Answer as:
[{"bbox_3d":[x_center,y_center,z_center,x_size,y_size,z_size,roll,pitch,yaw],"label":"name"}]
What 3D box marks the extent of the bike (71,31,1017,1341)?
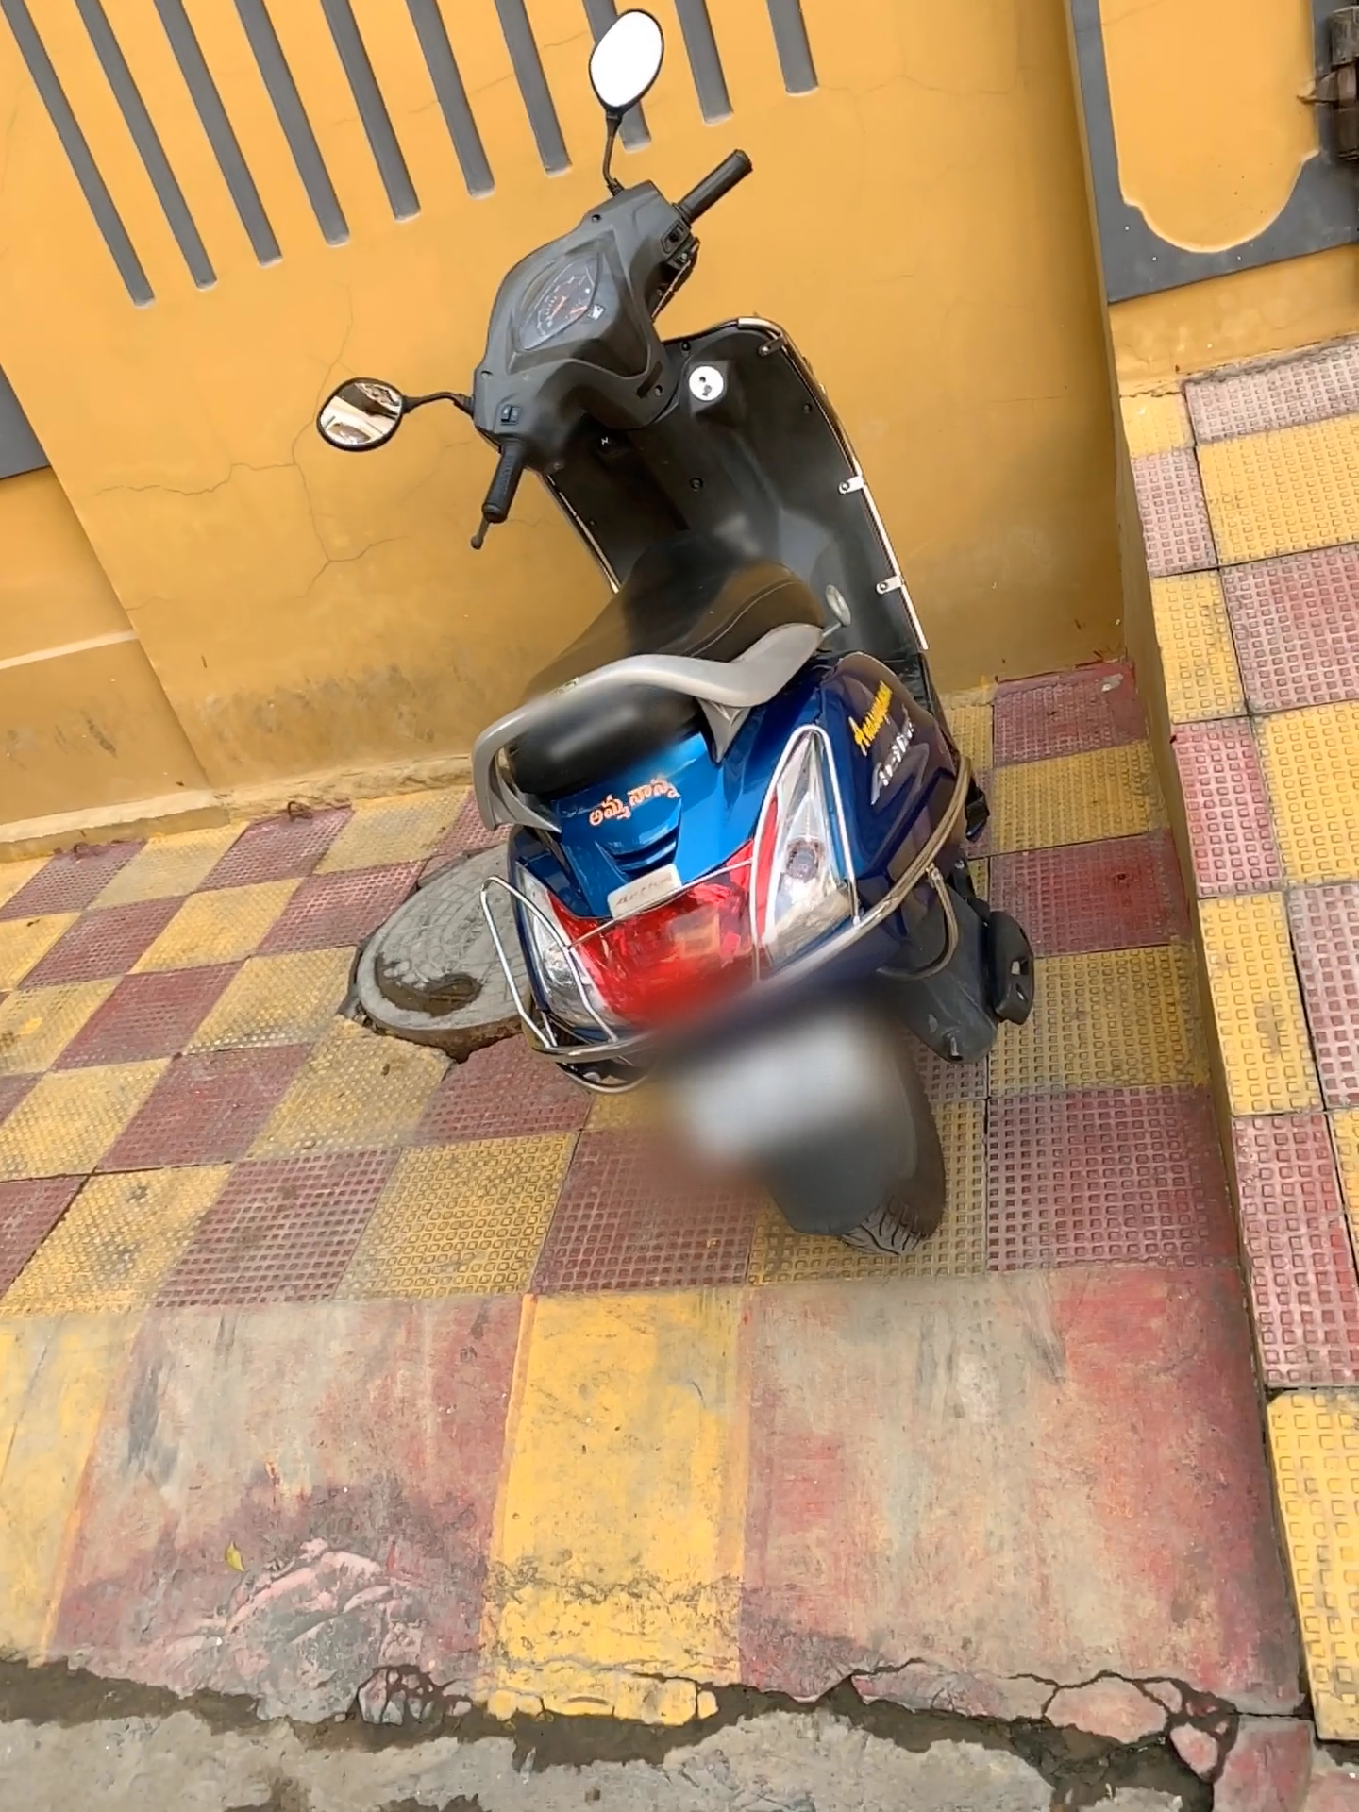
[{"bbox_3d":[-0.108,-0.447,1.951,0.596,1.097,1.534,-14,34,7],"label":"bike"}]
